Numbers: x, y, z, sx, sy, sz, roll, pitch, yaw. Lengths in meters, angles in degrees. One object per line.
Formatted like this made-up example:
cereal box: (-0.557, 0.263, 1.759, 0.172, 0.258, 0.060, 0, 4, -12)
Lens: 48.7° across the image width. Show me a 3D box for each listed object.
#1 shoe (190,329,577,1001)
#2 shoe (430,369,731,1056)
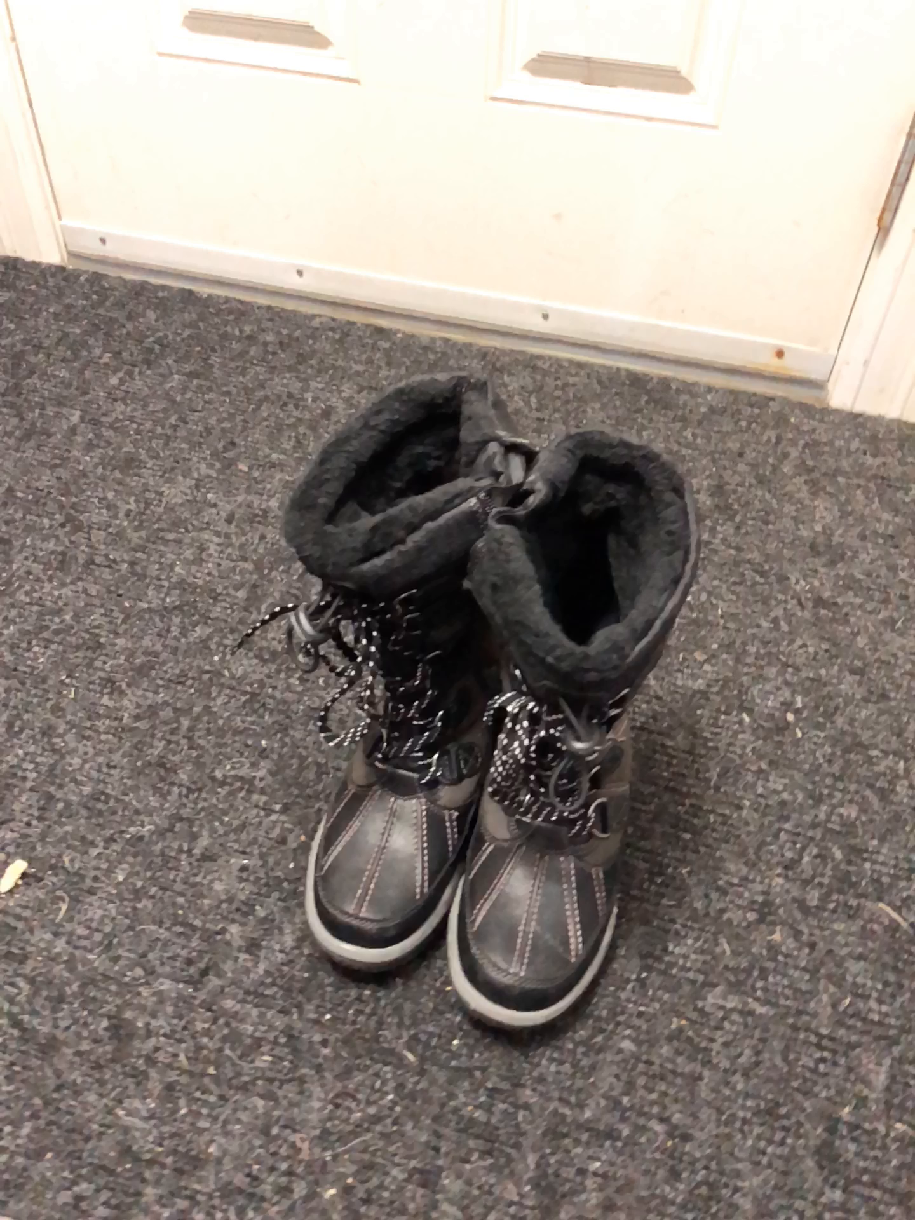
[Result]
shoe: (-0.024, 0.031, 0.587, 0.110, 0.269, 0.261, 12, 46, 10)
shoe: (0.068, 0.057, 0.571, 0.100, 0.269, 0.261, 11, 46, 9)
